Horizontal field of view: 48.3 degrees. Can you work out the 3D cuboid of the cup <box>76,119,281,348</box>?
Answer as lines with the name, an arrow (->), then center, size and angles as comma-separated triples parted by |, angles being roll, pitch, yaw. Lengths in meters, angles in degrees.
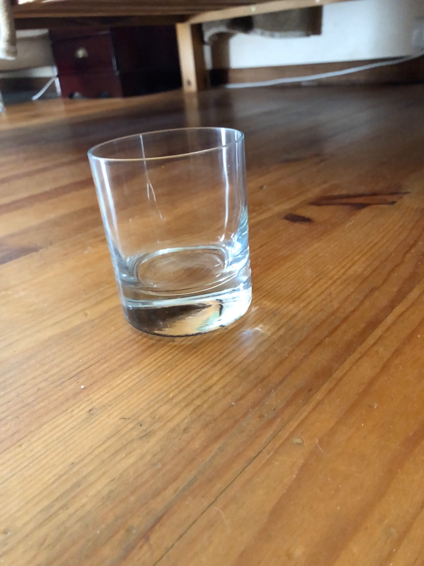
cup -> -0.020, -0.033, 0.258 | 0.087, 0.090, 0.083 | -5, 26, 2
